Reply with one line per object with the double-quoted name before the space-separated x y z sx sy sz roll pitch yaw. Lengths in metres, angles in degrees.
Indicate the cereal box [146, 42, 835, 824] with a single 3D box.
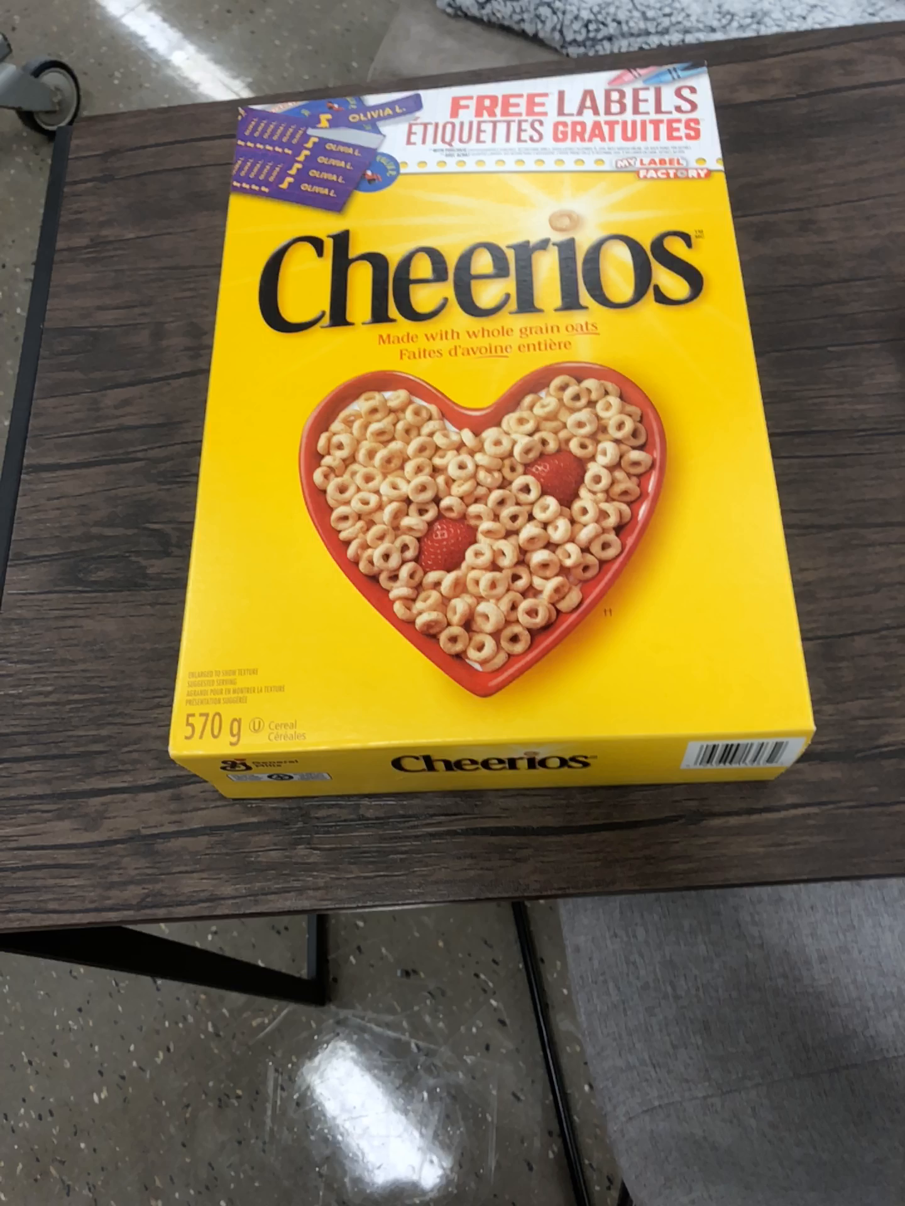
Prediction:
"cereal box" 0.011 -0.084 0.462 0.240 0.100 0.340 -3 66 5
